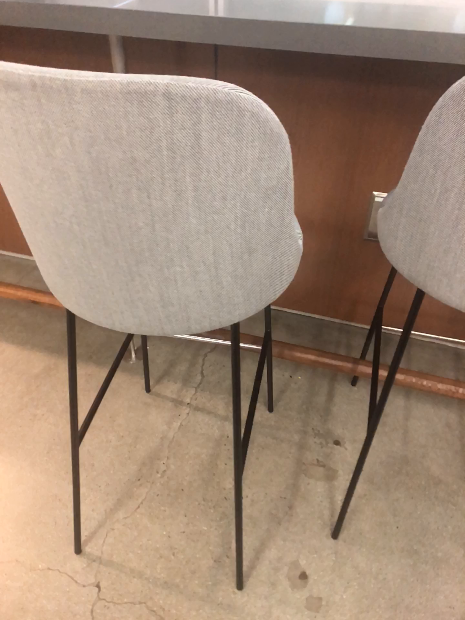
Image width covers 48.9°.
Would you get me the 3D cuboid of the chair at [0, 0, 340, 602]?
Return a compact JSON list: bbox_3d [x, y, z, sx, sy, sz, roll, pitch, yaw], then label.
[{"bbox_3d":[-0.133,-0.012,1.055,0.510,1.090,0.636,9,41,10],"label":"chair"}]
